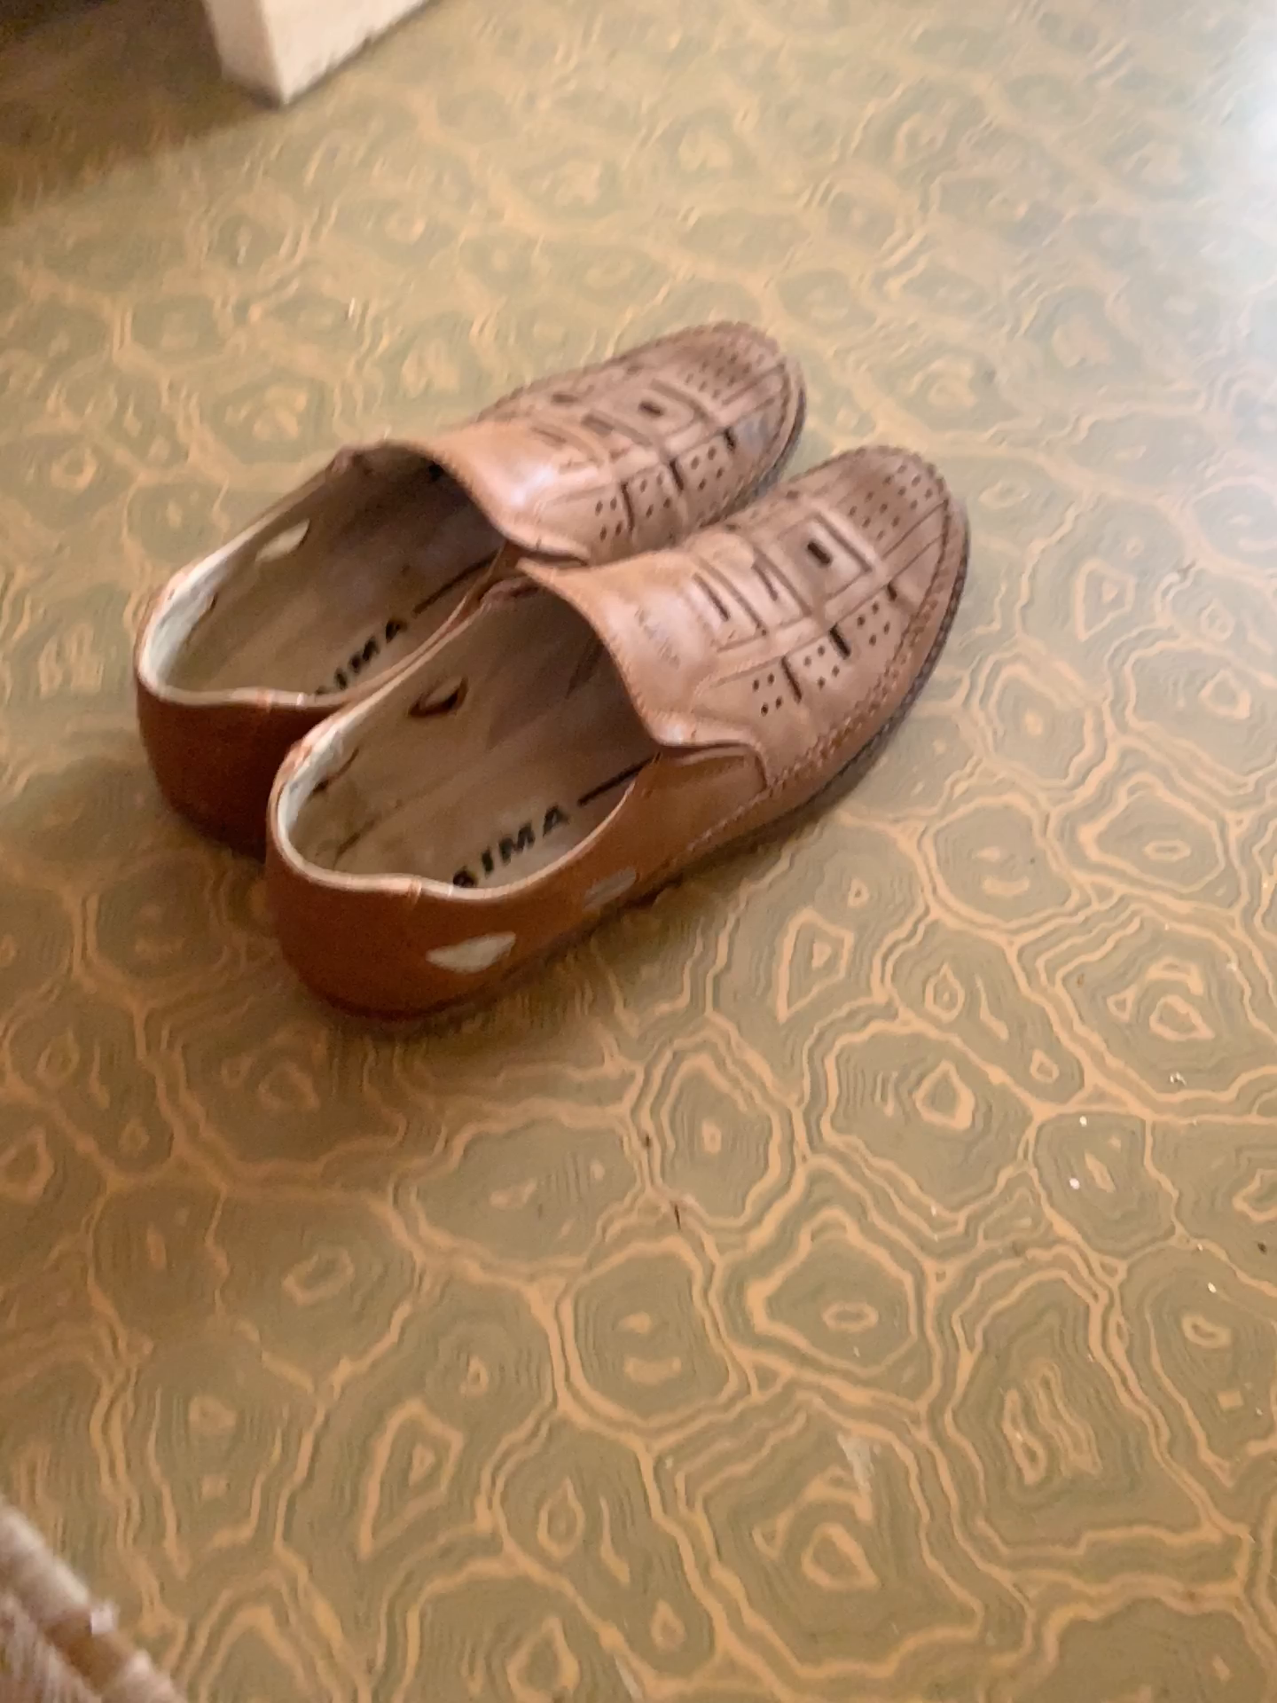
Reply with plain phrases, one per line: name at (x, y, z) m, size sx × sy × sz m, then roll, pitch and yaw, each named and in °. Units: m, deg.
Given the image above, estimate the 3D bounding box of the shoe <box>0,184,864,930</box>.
shoe at (-0.059, -0.114, 0.470) m, size 0.291 × 0.080 × 0.100 m, roll -41°, pitch 70°, yaw -20°

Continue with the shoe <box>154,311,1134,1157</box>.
shoe at (0.011, -0.048, 0.426) m, size 0.291 × 0.080 × 0.110 m, roll -38°, pitch 69°, yaw -18°
